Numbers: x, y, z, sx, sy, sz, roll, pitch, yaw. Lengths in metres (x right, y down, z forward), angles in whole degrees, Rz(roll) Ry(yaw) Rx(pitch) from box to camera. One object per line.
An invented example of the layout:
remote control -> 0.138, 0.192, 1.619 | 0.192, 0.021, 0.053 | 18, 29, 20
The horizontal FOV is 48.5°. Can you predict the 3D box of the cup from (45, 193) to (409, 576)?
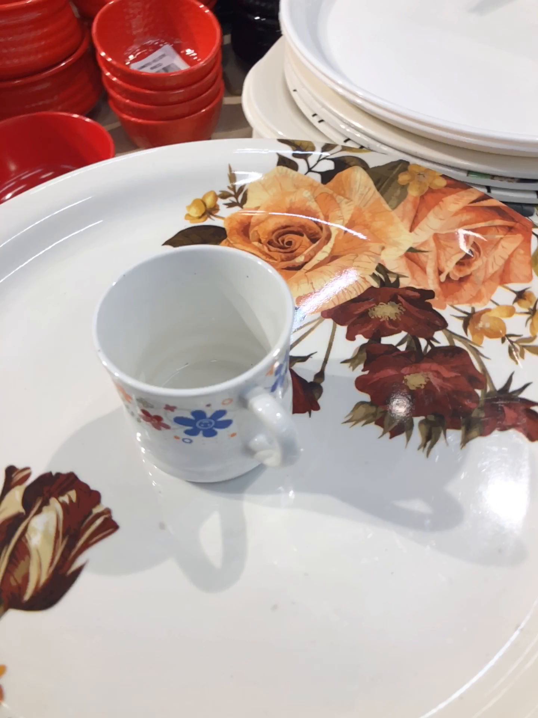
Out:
cup -> -0.015, 0.008, 0.226 | 0.070, 0.080, 0.100 | -38, 61, -23
